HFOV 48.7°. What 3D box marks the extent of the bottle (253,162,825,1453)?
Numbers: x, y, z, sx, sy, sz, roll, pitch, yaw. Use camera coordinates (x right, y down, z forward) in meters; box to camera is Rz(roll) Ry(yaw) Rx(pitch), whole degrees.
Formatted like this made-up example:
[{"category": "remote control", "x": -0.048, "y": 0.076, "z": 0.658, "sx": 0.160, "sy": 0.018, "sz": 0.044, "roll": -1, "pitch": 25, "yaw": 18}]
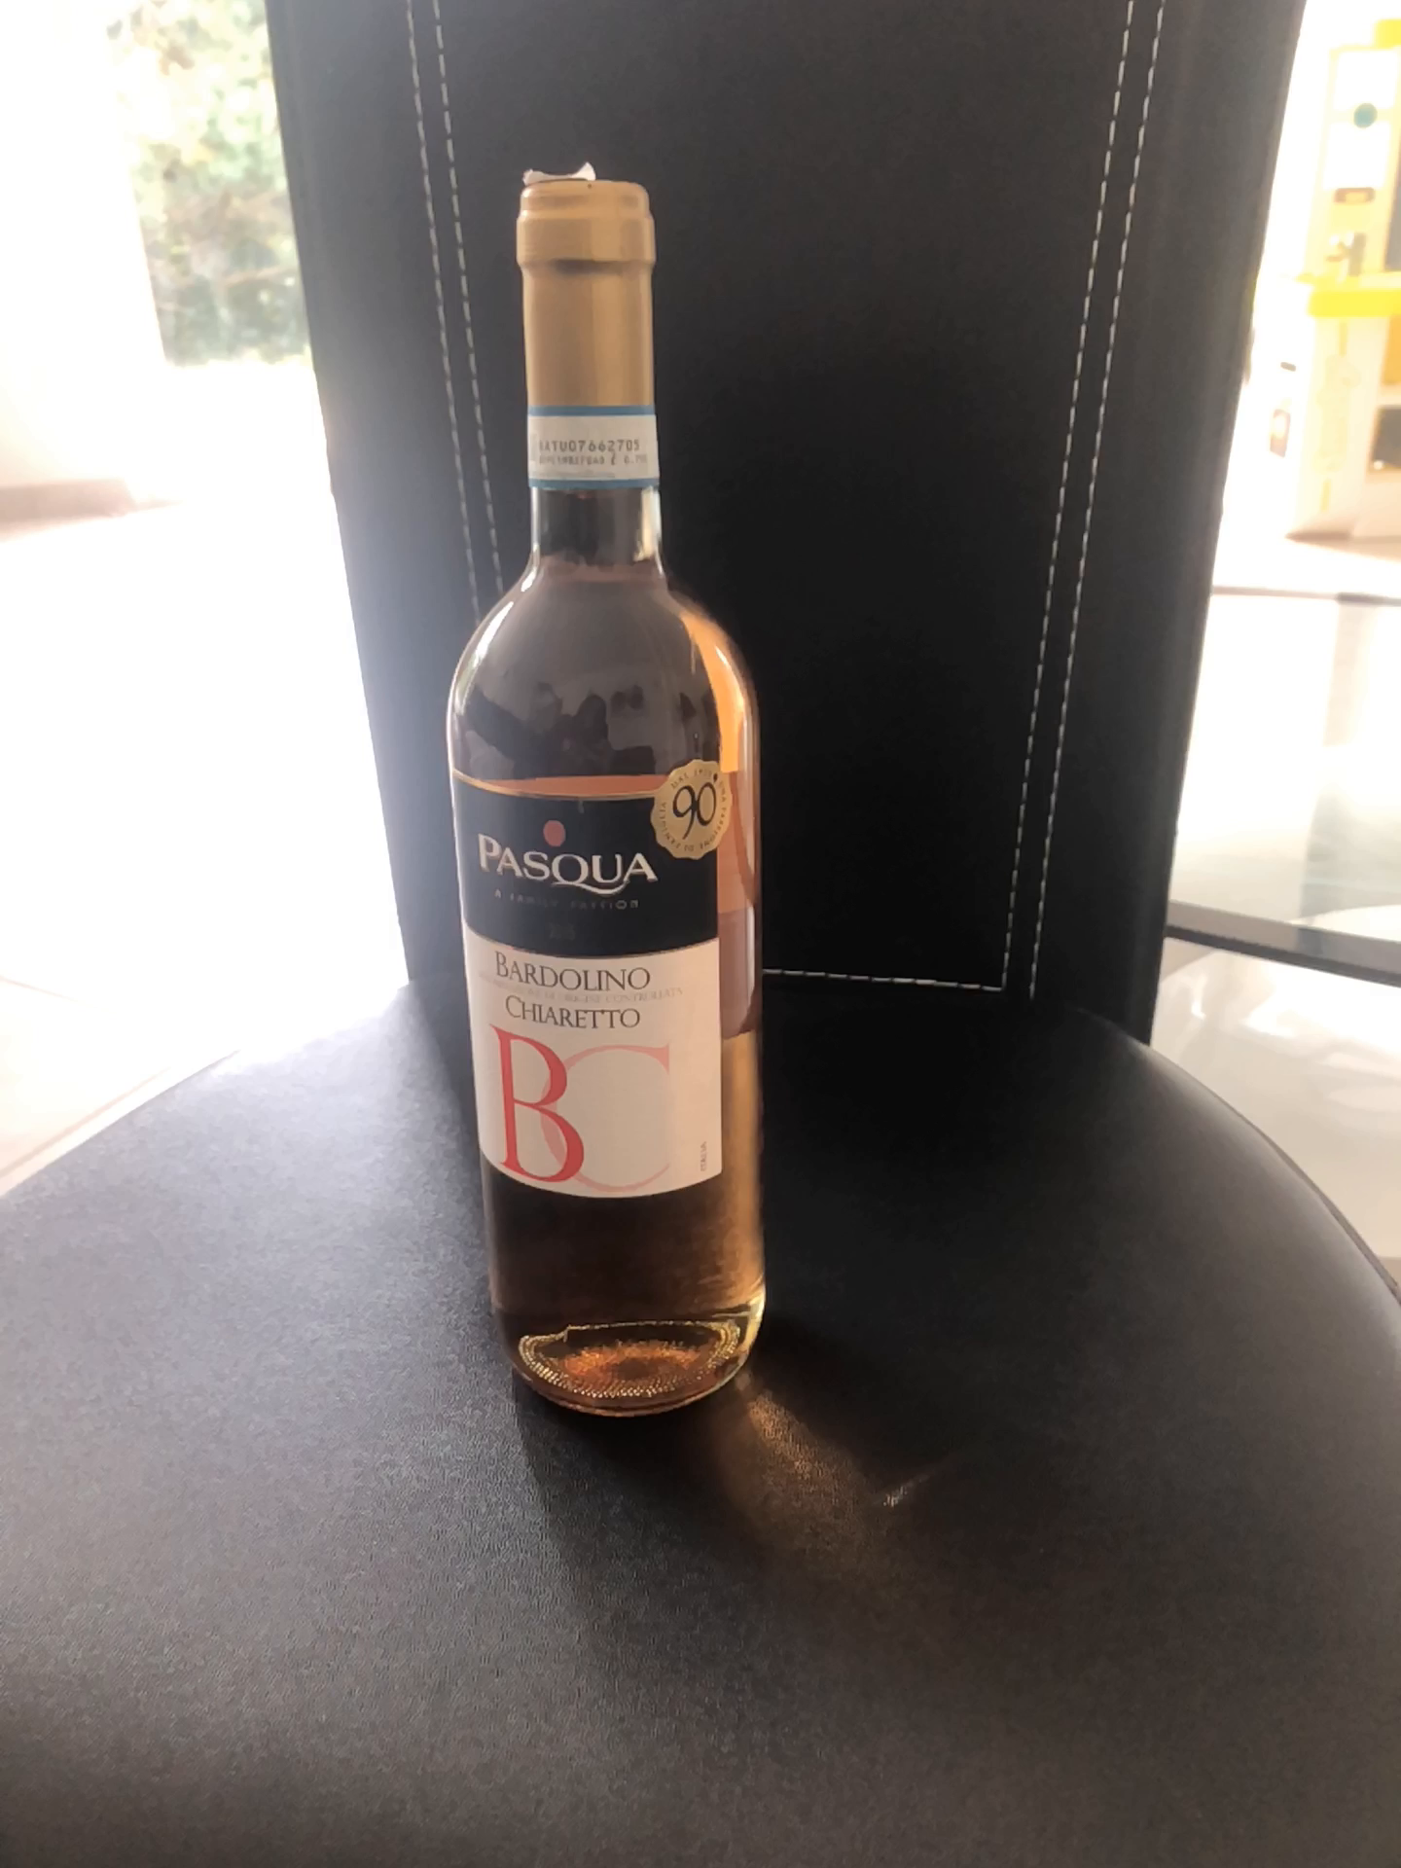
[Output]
[{"category": "bottle", "x": -0.025, "y": -0.024, "z": 0.362, "sx": 0.080, "sy": 0.278, "sz": 0.080, "roll": -1, "pitch": 26, "yaw": 1}]
